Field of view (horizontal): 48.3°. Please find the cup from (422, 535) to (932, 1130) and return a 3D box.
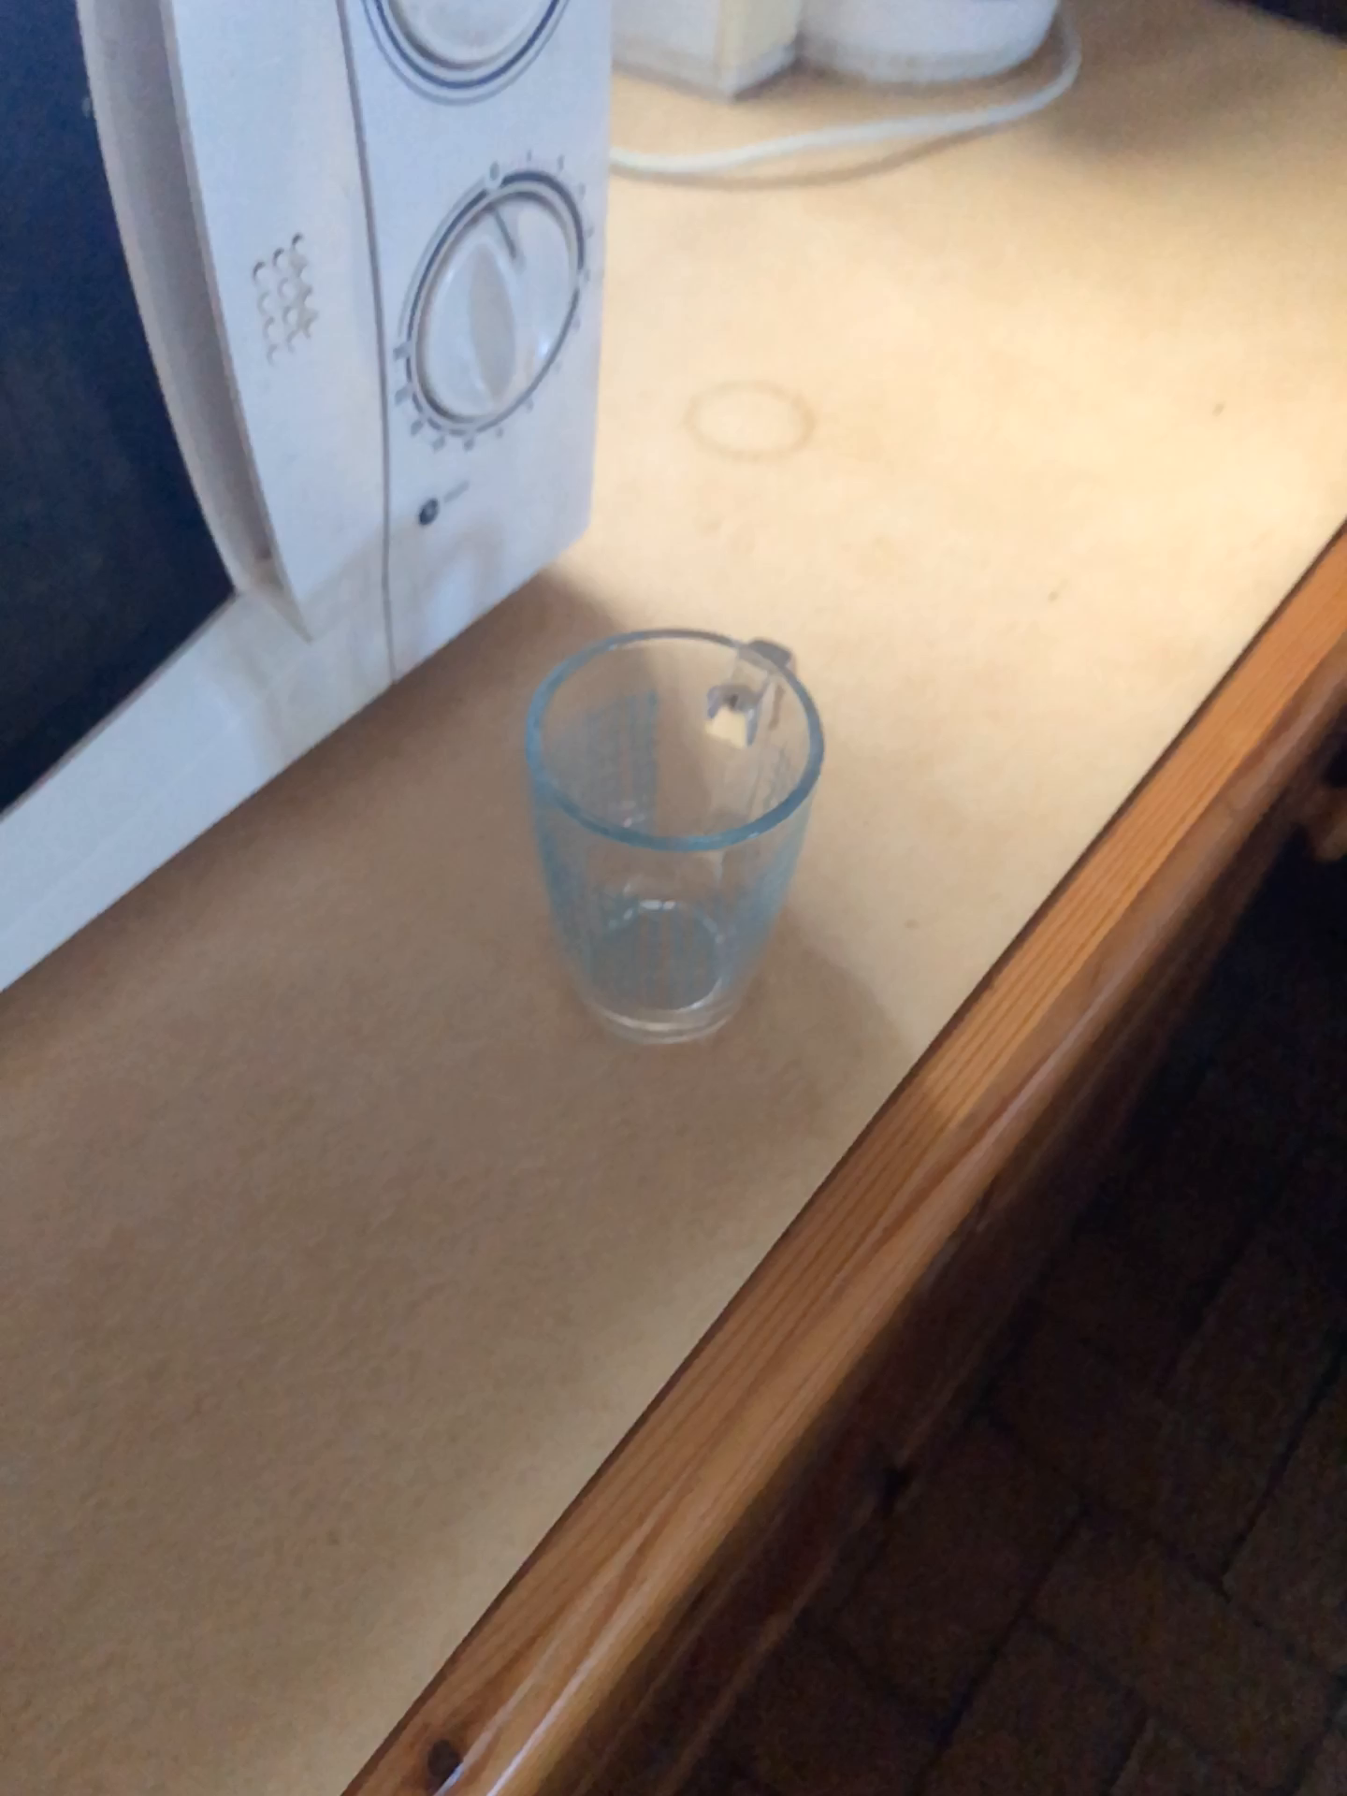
[{"bbox_3d":[0.001,-0.014,0.307,0.060,0.070,0.081,30,56,18],"label":"cup"}]
